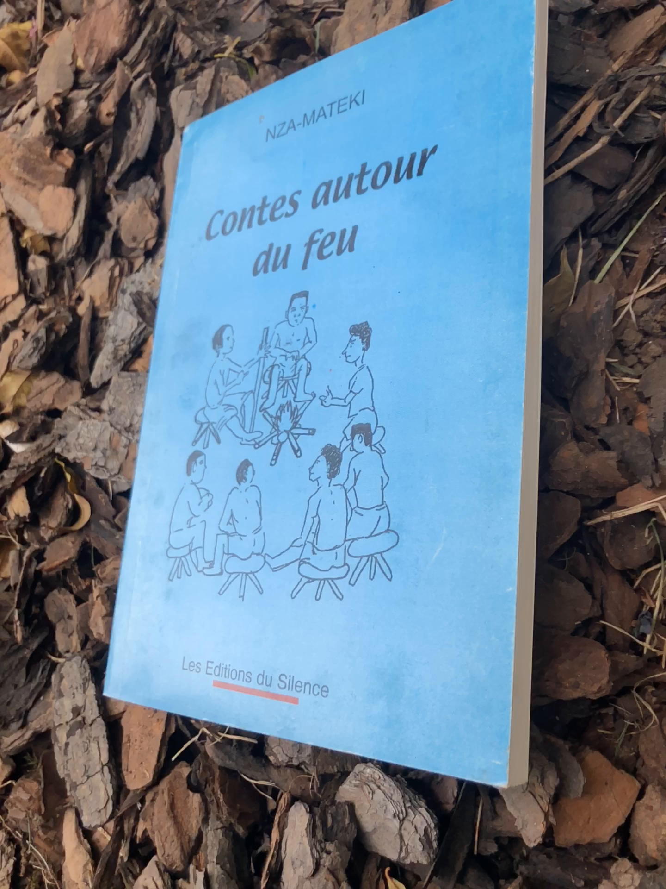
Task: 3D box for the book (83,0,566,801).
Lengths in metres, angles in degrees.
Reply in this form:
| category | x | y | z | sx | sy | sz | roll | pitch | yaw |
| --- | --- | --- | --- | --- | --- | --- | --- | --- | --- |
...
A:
| category | x | y | z | sx | sy | sz | roll | pitch | yaw |
| --- | --- | --- | --- | --- | --- | --- | --- | --- | --- |
| book | -0.008 | -0.023 | 0.217 | 0.144 | 0.015 | 0.202 | -4 | 75 | 38 |
